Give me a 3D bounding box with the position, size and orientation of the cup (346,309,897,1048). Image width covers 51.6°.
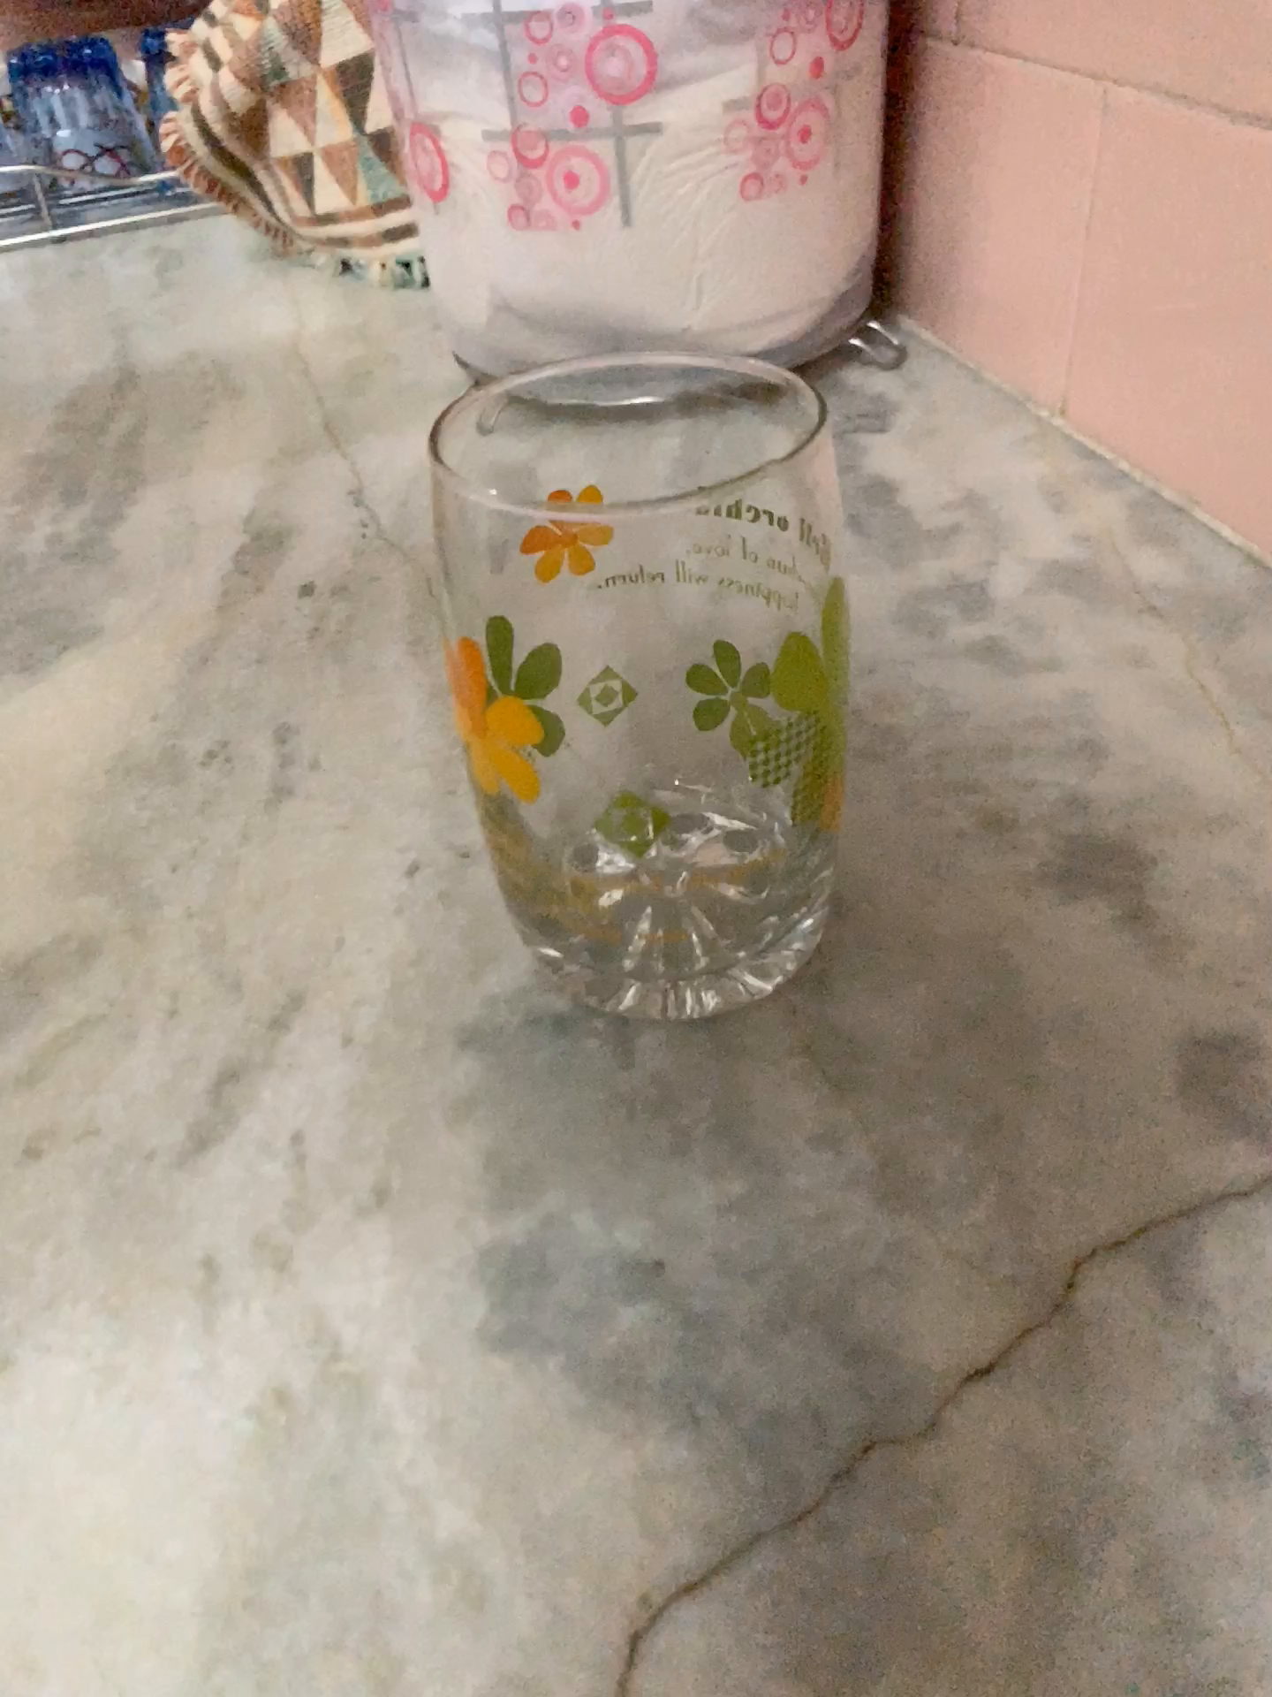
[{"bbox_3d":[0.006,-0.029,0.225,0.070,0.100,0.070,-4,38,3],"label":"cup"}]
